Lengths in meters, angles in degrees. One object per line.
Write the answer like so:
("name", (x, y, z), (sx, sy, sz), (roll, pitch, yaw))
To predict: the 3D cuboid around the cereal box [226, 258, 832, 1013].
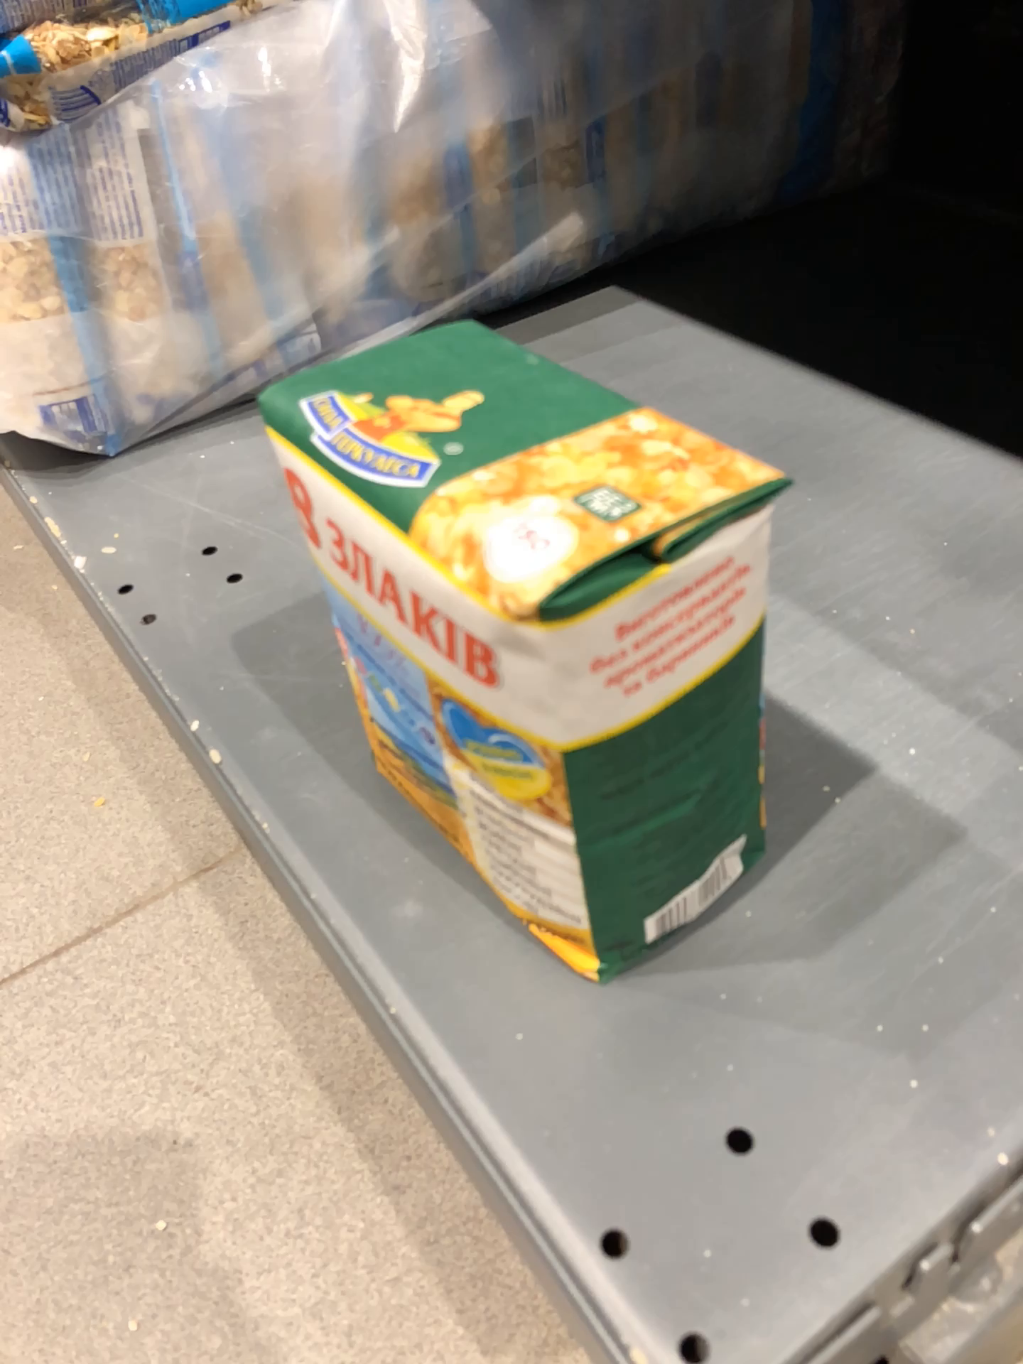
("cereal box", (0.004, -0.015, 0.278), (0.070, 0.129, 0.121), (-29, 46, -22))
